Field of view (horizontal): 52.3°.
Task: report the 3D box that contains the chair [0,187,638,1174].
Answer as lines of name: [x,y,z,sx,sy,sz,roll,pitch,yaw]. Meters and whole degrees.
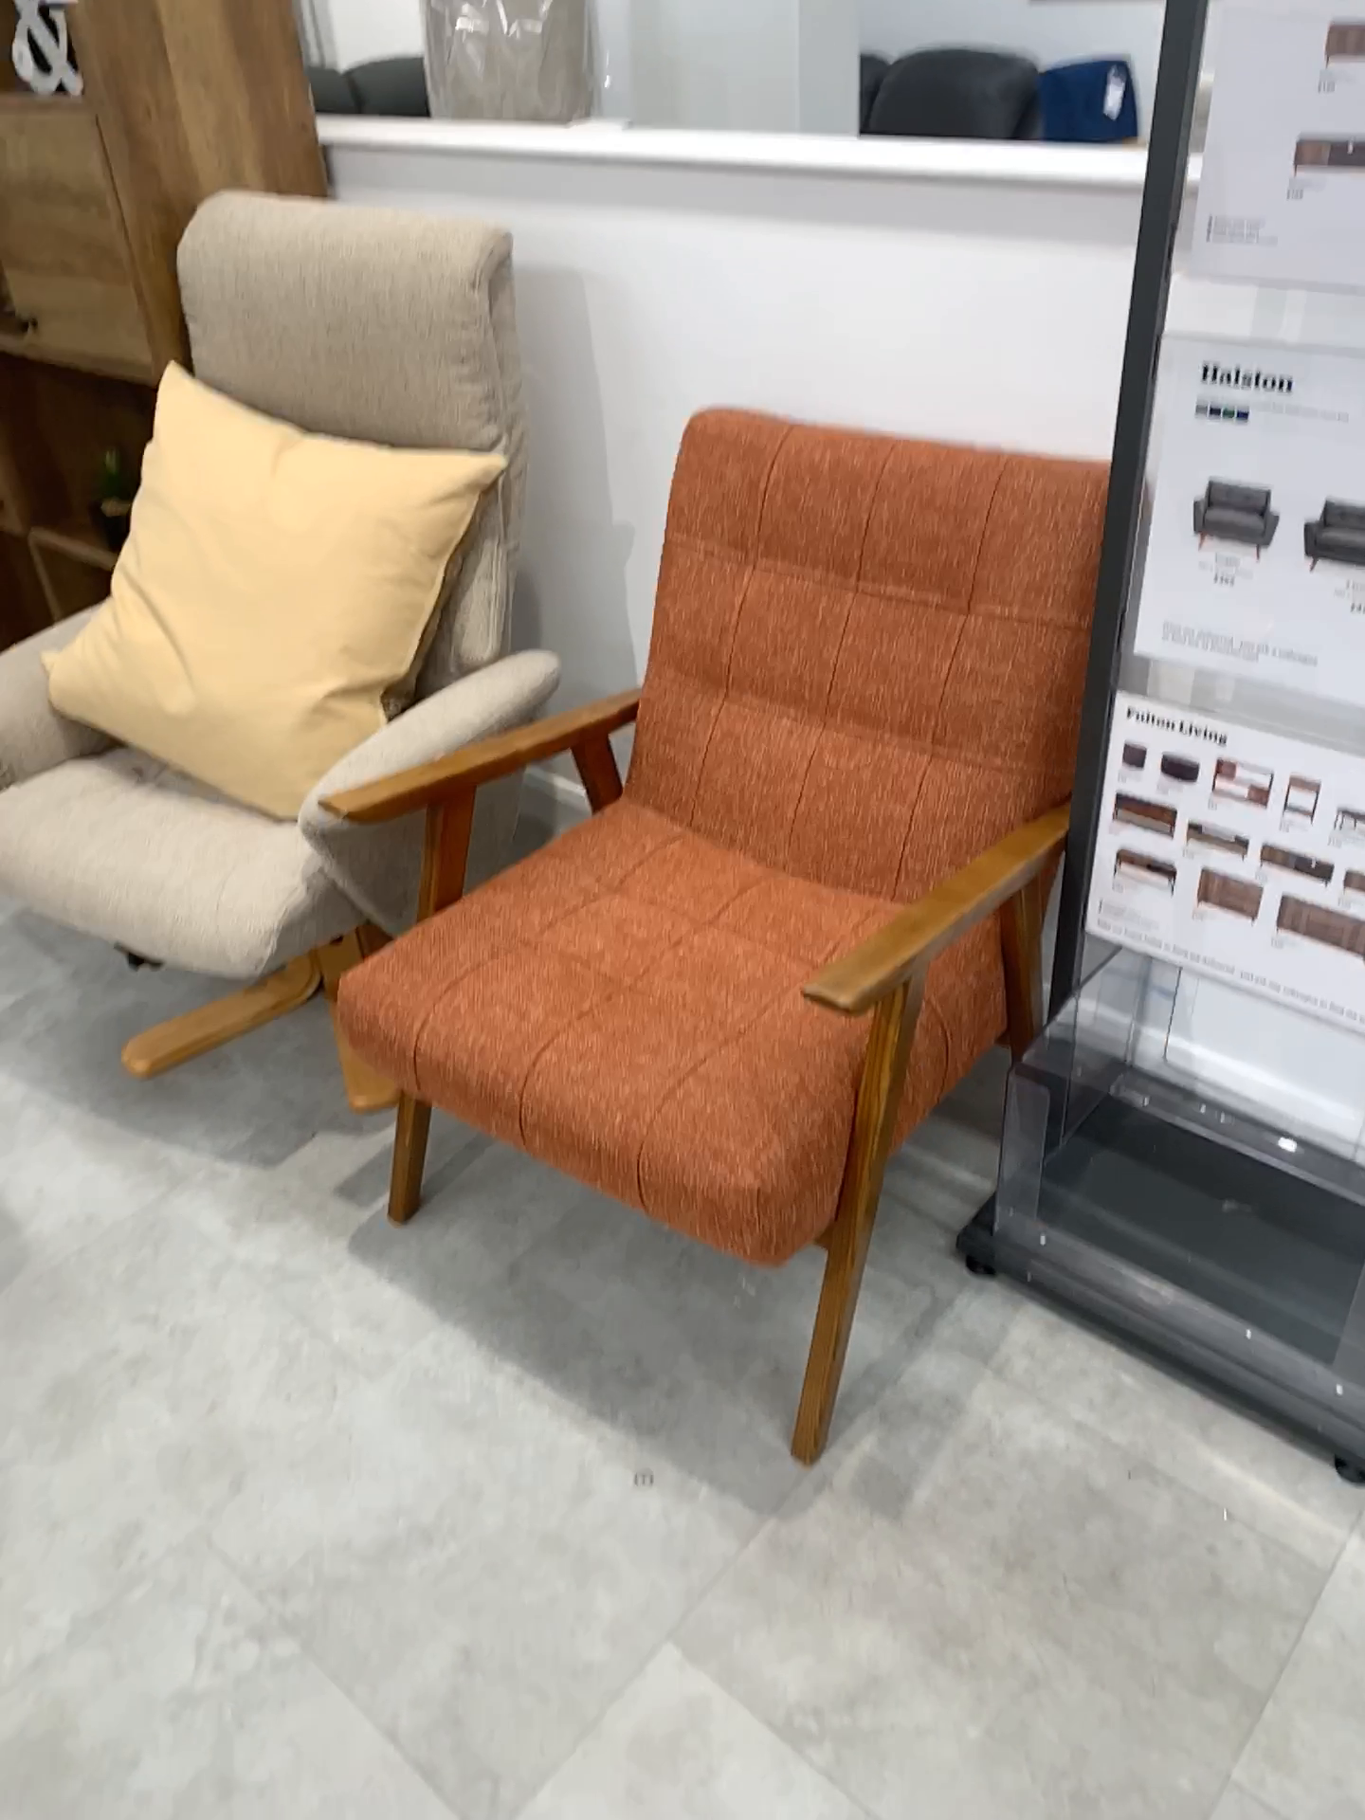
chair: [-0.565,-0.342,1.851,0.698,1.013,0.684,13,38,24]

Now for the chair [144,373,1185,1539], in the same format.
chair: [0.028,-0.016,1.538,0.689,0.885,0.703,20,41,31]
